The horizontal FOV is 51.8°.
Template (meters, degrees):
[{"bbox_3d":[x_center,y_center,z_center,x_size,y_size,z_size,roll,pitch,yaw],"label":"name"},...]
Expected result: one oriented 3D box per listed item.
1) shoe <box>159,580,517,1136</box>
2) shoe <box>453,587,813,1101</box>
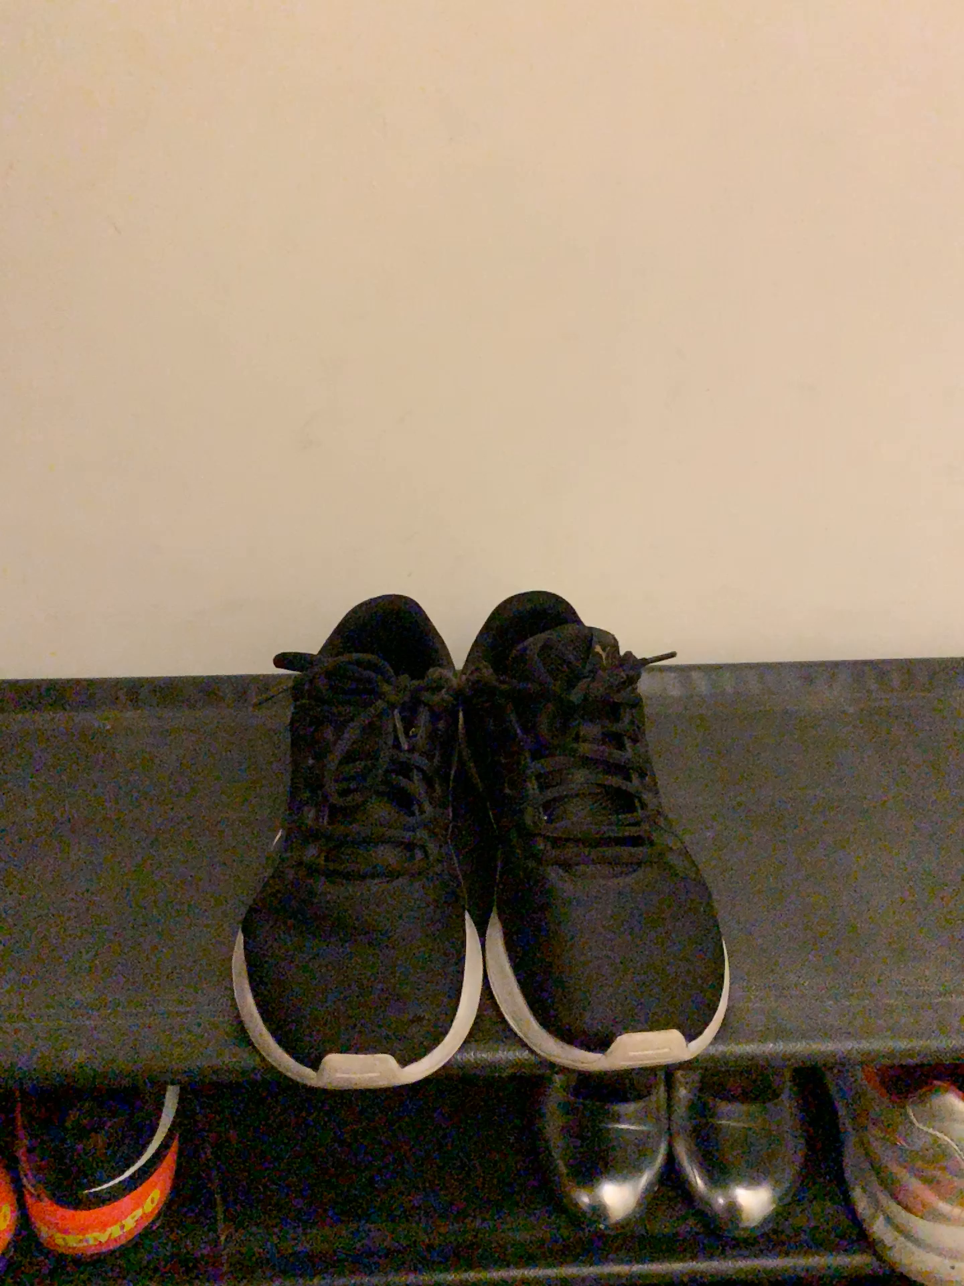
[{"bbox_3d":[-0.052,0.070,0.432,0.110,0.089,0.242,-2,31,-3],"label":"shoe"},{"bbox_3d":[0.048,0.068,0.461,0.110,0.069,0.262,-2,31,-3],"label":"shoe"}]
